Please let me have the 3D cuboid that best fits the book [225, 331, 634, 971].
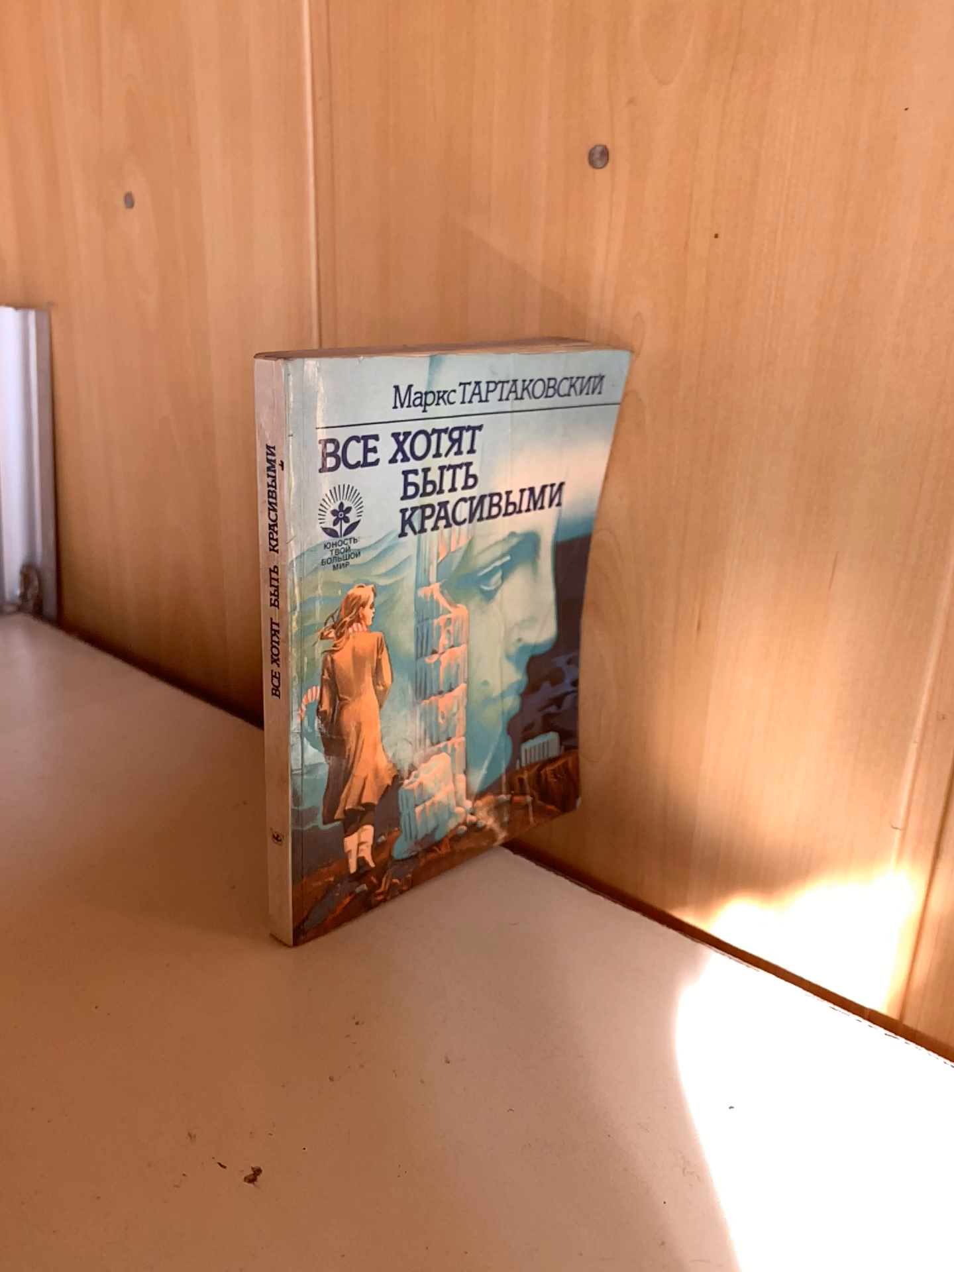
[{"bbox_3d":[-0.009,-0.004,0.292,0.029,0.159,0.125,19,26,39],"label":"book"}]
